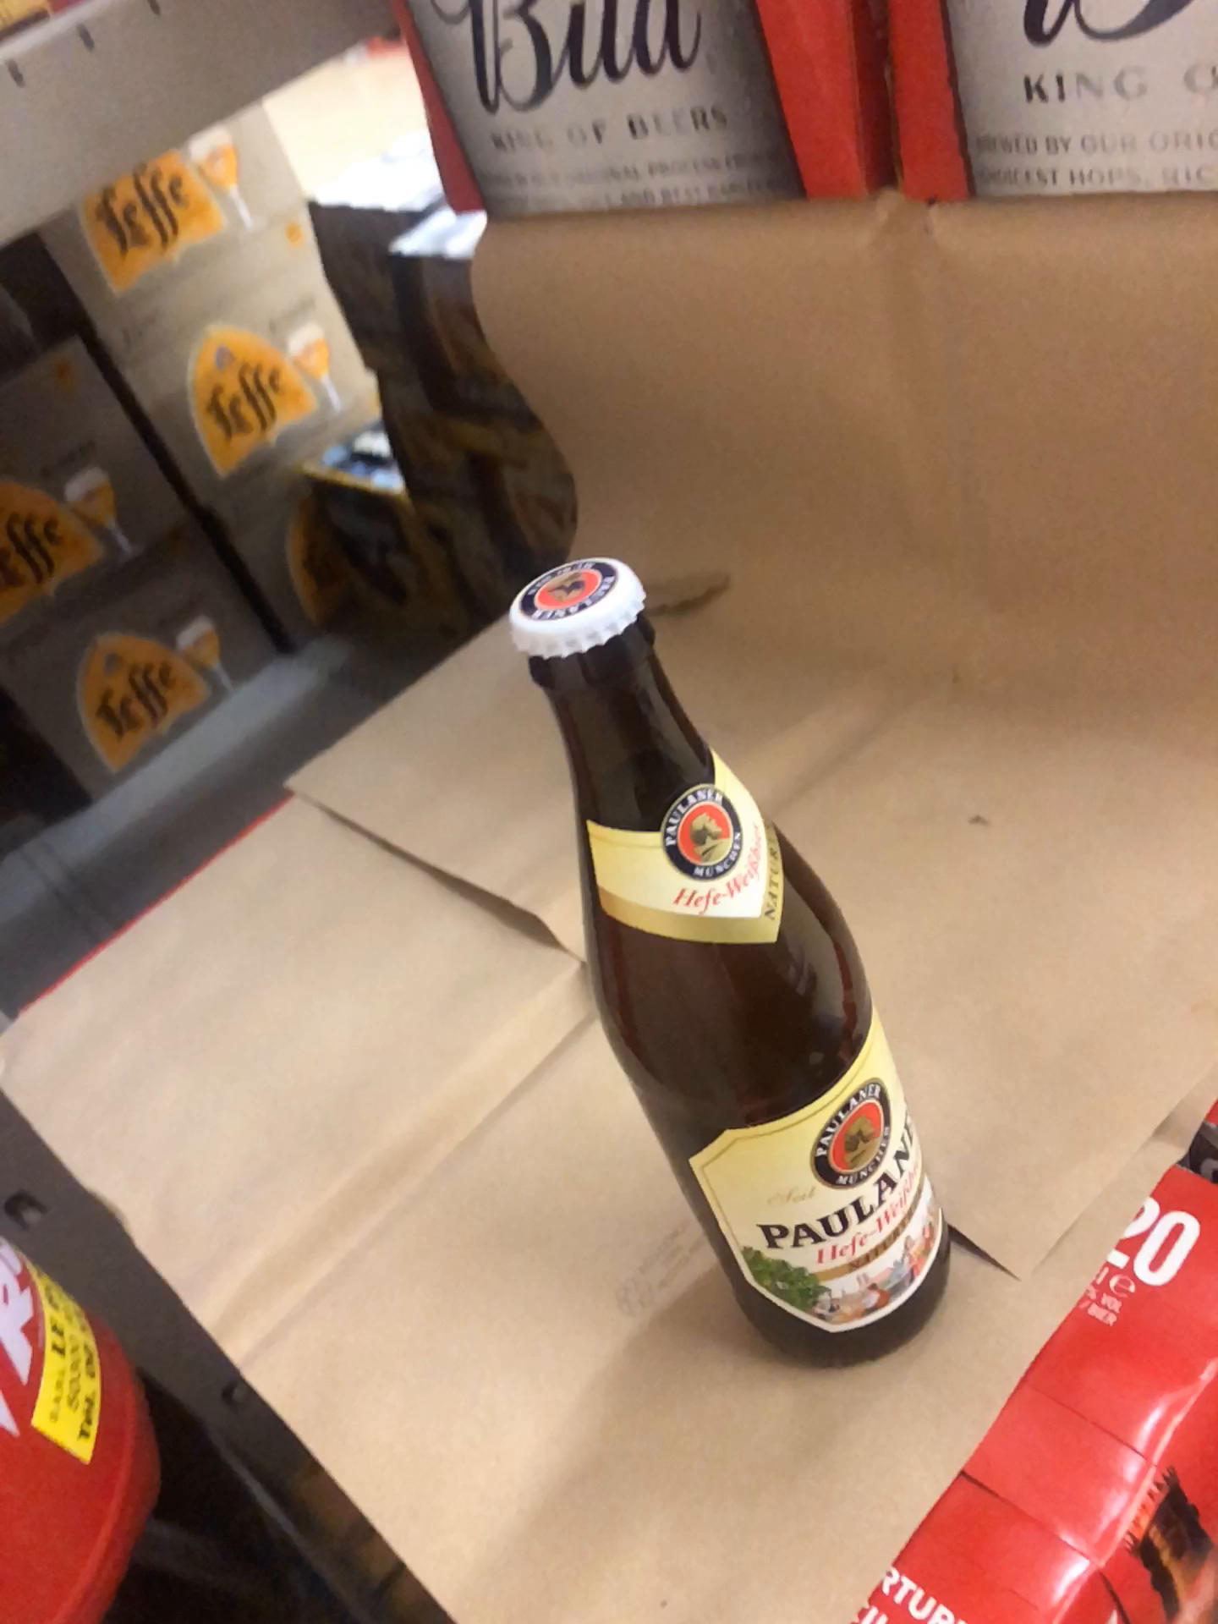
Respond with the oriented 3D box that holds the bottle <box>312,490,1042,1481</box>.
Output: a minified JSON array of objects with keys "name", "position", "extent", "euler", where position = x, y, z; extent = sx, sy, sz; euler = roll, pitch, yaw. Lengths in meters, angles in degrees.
[{"name":"bottle","position":[0.030,0.055,0.327],"extent":[0.080,0.239,0.080],"euler":[-15,39,13]}]
